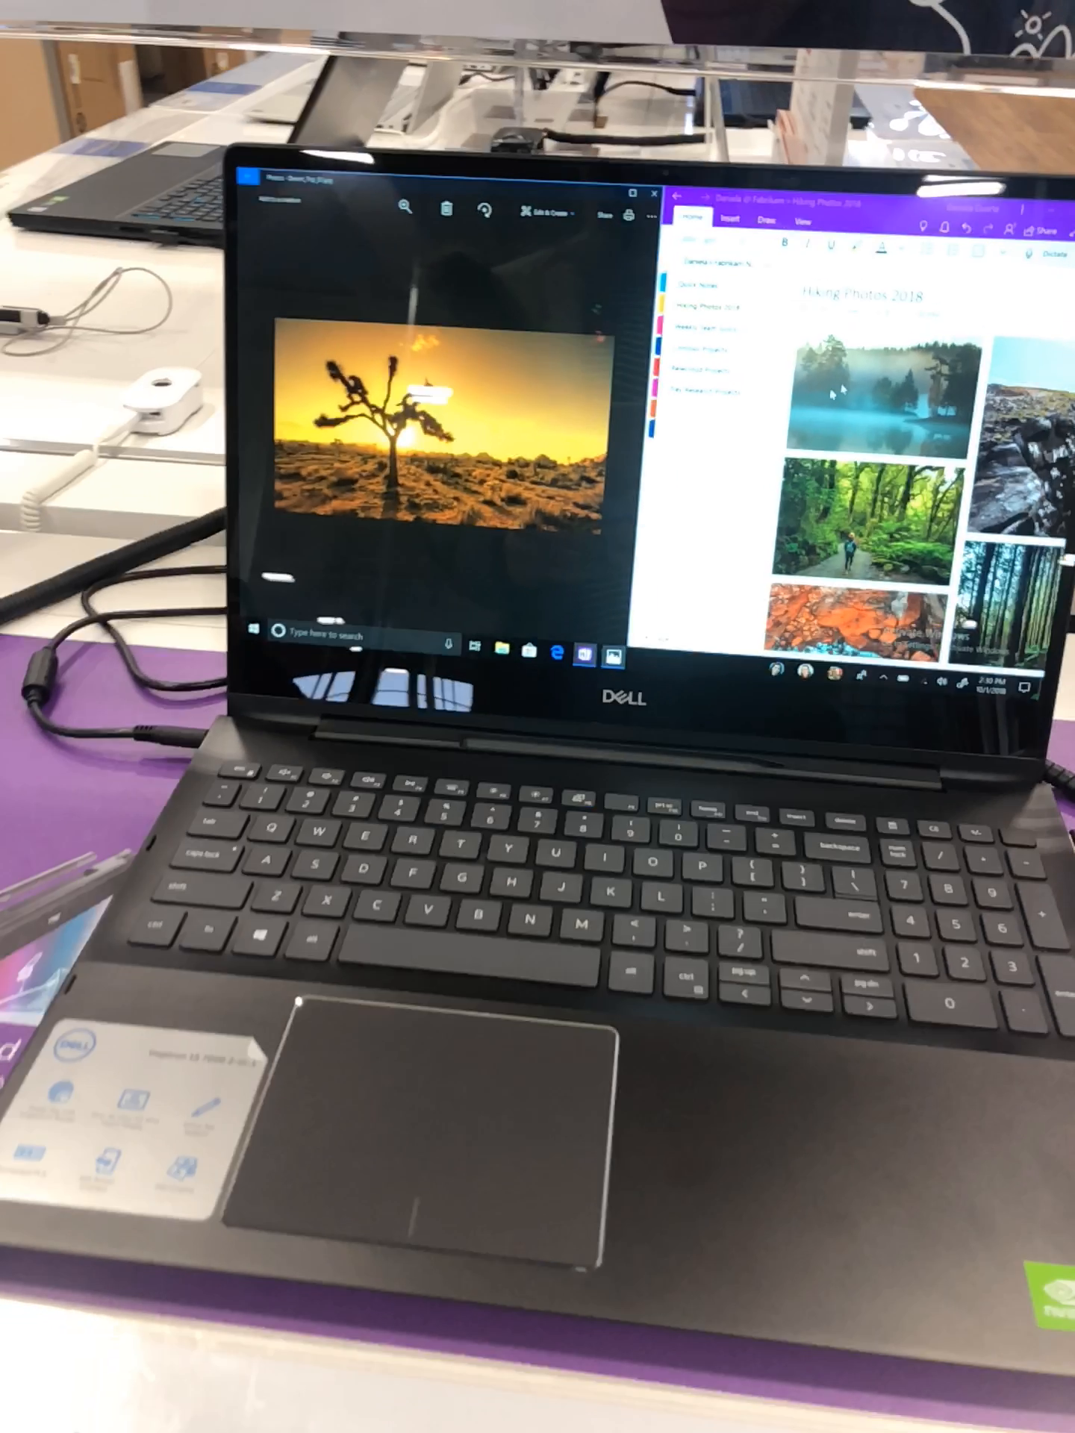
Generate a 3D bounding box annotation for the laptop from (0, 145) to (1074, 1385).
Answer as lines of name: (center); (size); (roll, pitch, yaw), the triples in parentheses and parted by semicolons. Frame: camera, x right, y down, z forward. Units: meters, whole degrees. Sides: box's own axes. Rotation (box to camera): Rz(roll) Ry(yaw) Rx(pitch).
laptop: (0.029, -0.029, 0.374); (0.340, 0.207, 0.325); (5, 36, 5)
